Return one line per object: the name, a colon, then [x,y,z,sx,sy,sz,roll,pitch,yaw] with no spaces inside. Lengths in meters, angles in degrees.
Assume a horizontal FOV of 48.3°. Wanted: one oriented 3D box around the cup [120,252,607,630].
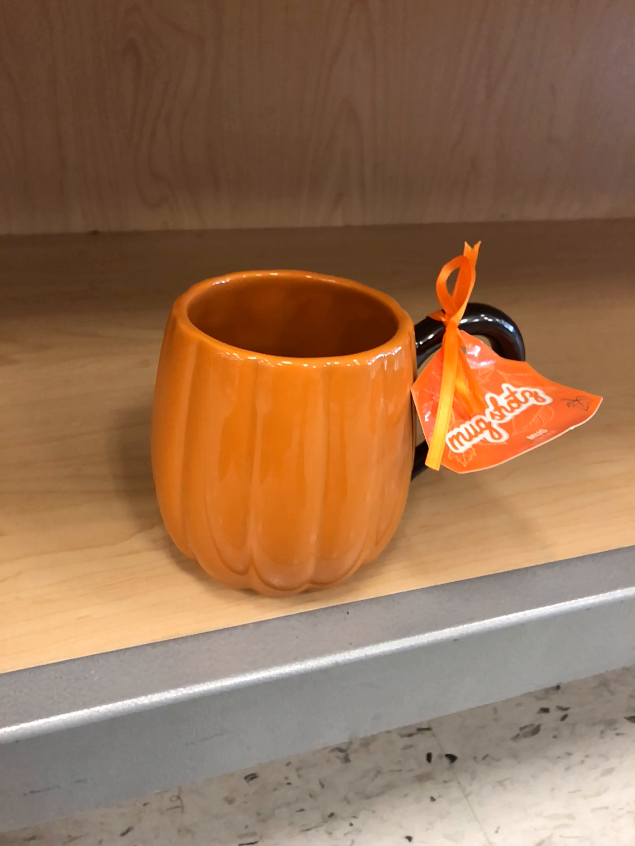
cup: [0.009,-0.001,0.256,0.140,0.089,0.081,-7,35,-19]
